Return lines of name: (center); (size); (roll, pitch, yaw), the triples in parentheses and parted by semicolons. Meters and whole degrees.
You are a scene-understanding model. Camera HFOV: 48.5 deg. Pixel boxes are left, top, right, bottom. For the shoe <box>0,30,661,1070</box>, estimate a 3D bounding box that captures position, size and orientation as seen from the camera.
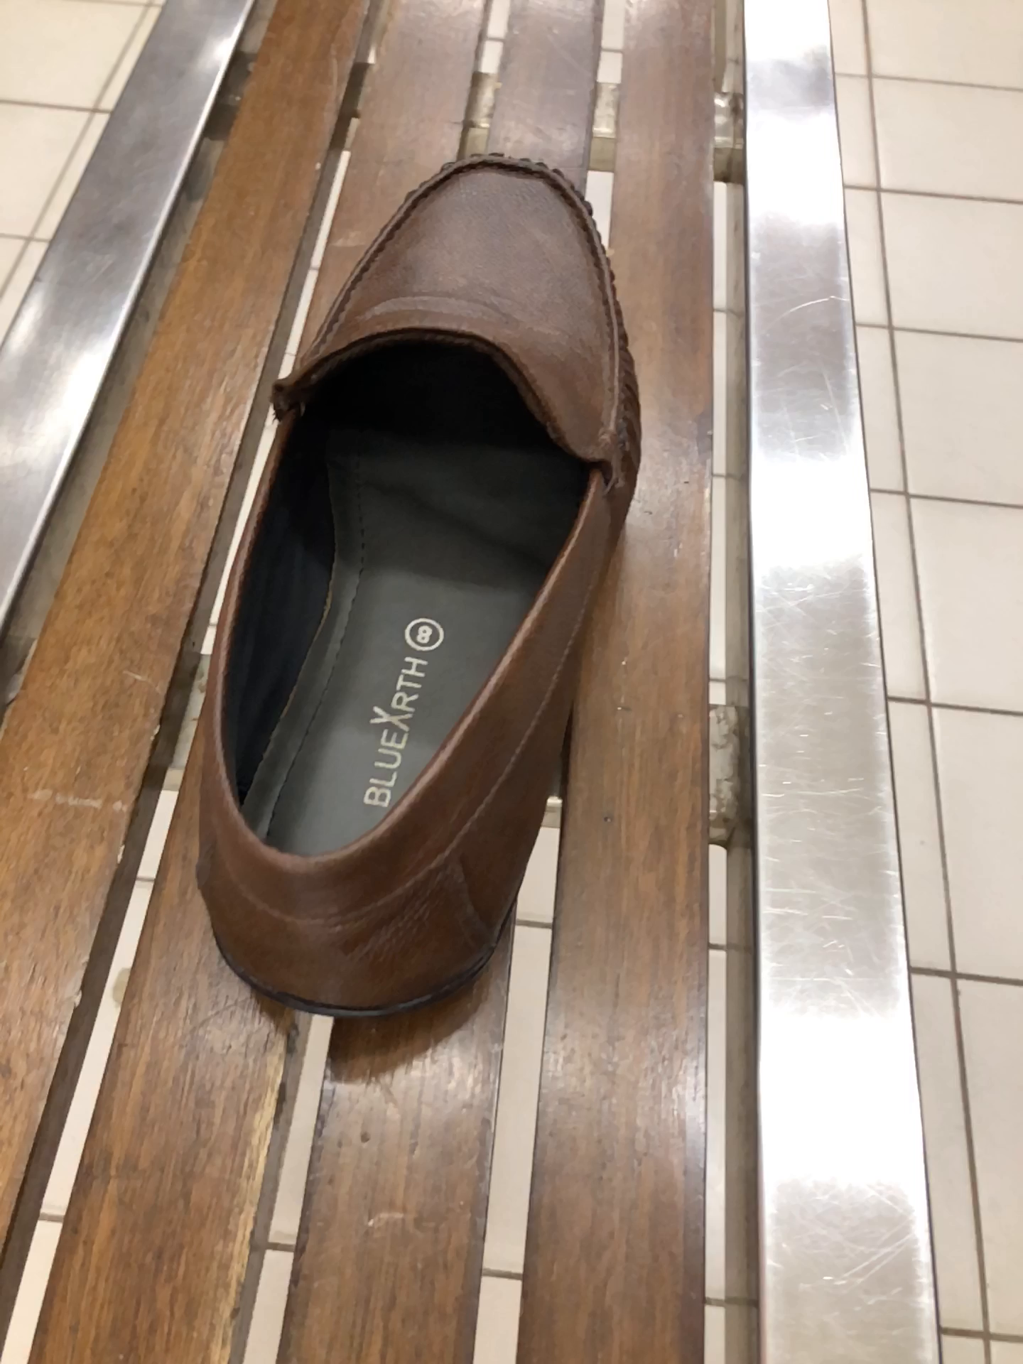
shoe: (-0.025, -0.054, 0.315); (0.090, 0.090, 0.281); (10, 59, 4)
